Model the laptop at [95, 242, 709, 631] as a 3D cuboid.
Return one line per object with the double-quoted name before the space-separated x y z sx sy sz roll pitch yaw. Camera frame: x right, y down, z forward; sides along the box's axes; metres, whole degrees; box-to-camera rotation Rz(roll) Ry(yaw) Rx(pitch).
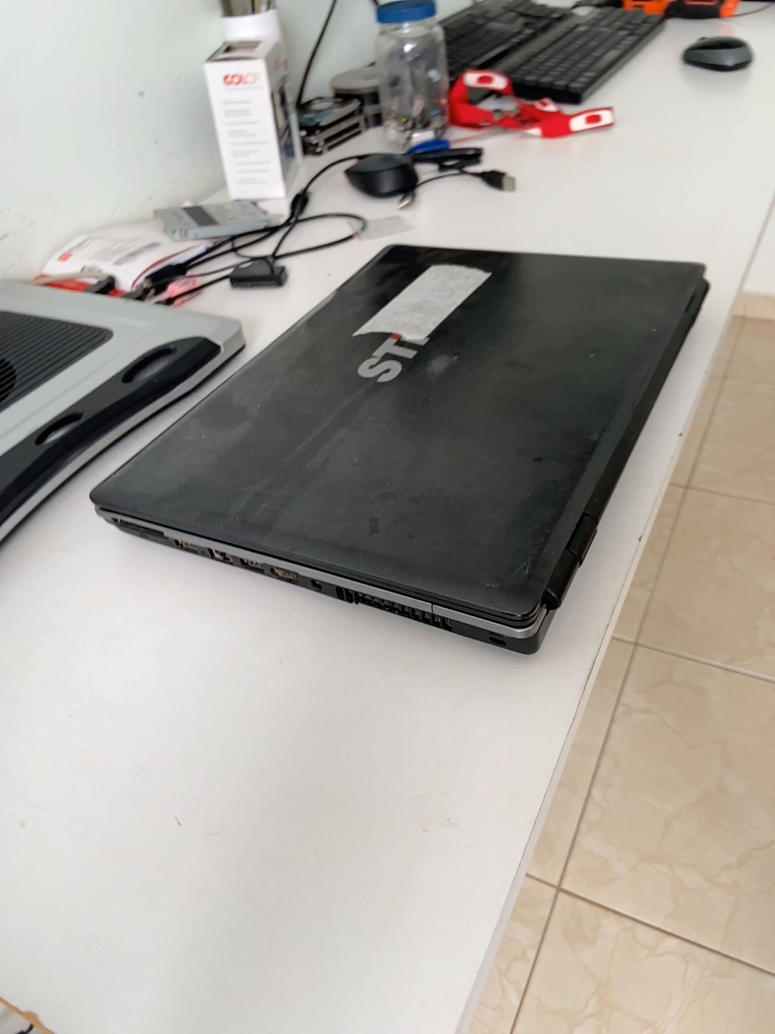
"laptop" 0.032 -0.086 0.472 0.234 0.006 0.339 13 45 26
